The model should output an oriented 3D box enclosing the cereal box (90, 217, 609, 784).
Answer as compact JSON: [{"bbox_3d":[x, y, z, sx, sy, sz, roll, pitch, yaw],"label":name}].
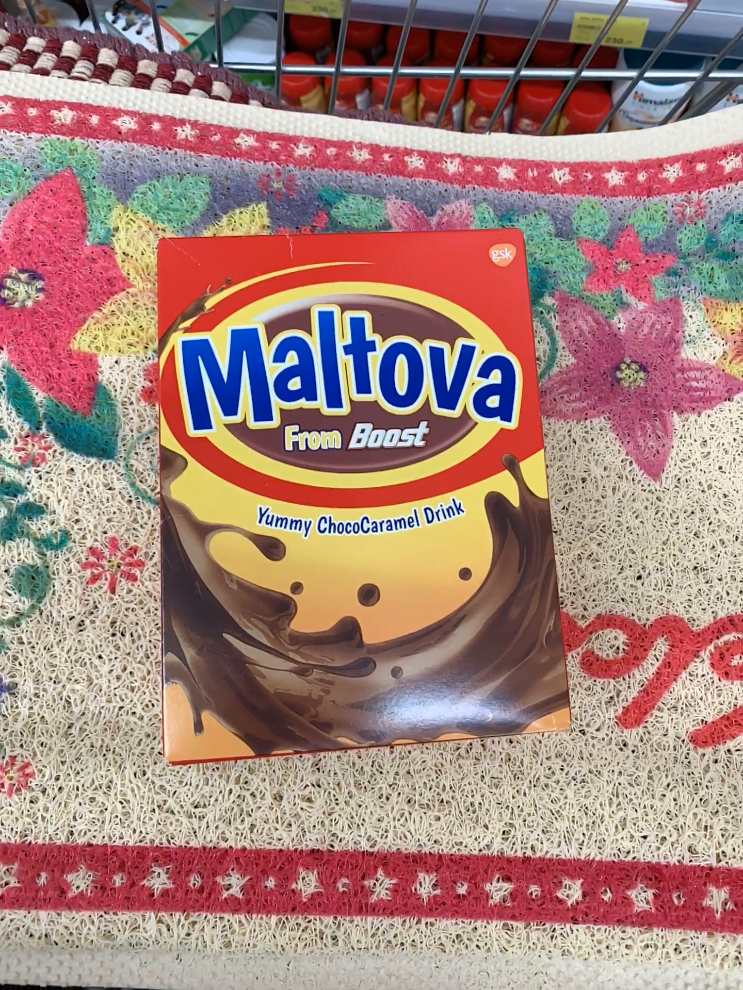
[{"bbox_3d":[-0.012,-0.001,0.262,0.150,0.050,0.170,-4,79,-4],"label":"cereal box"}]
